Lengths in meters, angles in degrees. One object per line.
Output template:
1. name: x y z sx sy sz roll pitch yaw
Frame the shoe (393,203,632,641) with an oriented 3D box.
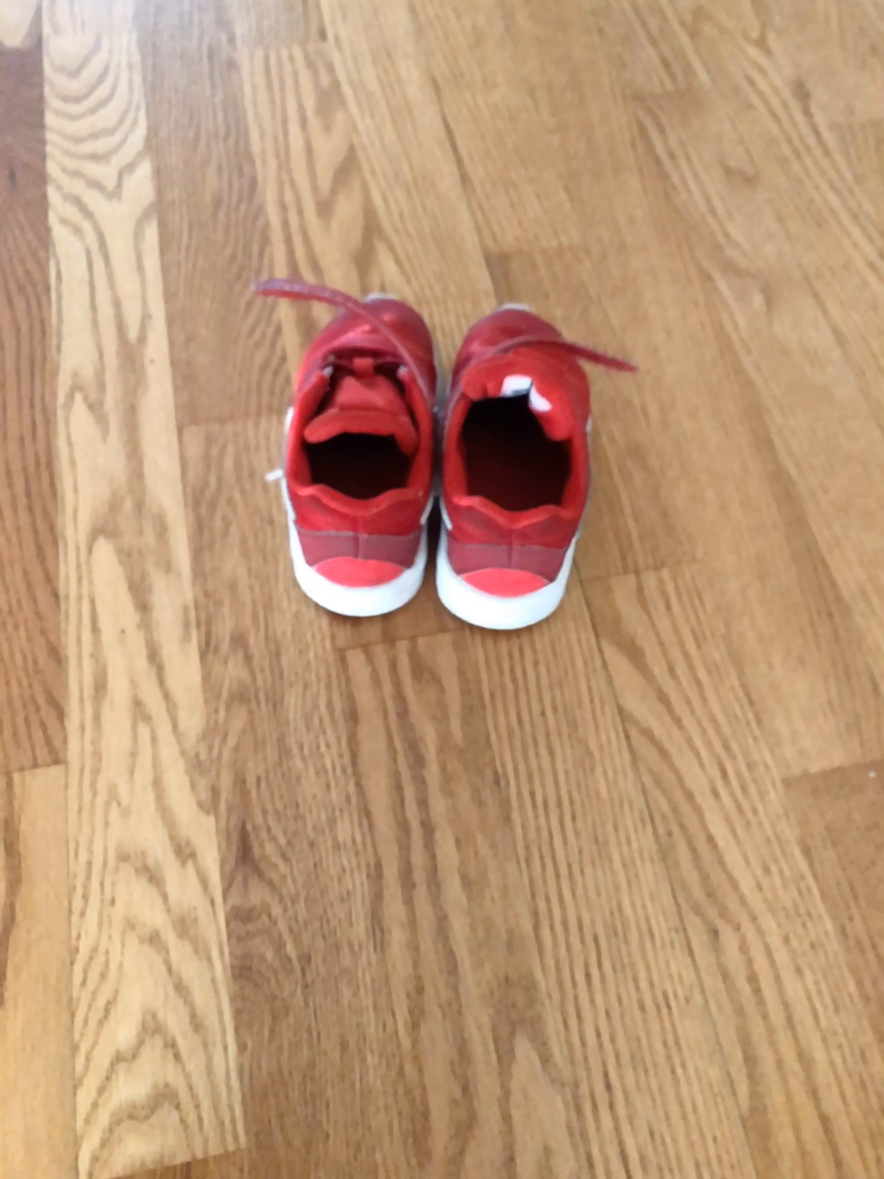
1. shoe: 0.033 -0.076 0.435 0.088 0.069 0.178 6 62 0

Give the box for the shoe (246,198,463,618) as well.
1. shoe: -0.034 -0.082 0.435 0.080 0.069 0.176 1 63 -3
